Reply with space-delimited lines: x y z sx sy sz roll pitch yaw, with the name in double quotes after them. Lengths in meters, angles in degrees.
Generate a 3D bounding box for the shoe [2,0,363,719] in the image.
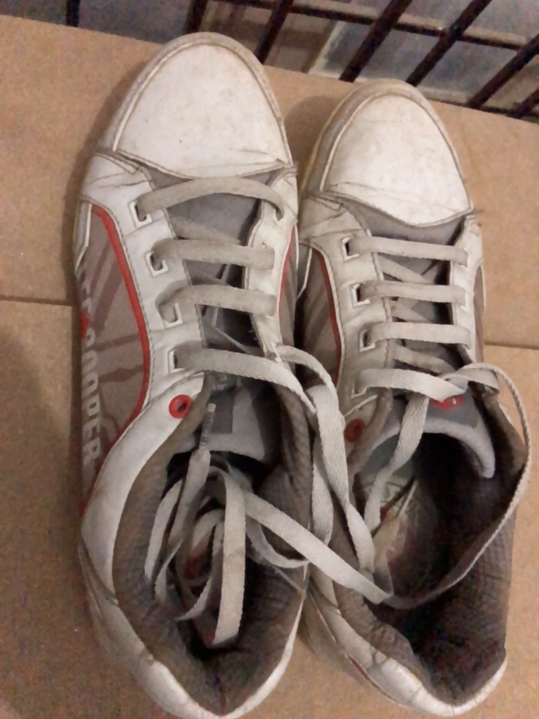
-0.034 -0.010 0.234 0.100 0.080 0.270 4 76 -19 "shoe"

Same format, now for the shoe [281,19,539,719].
0.068 0.004 0.268 0.100 0.080 0.270 4 76 -19 "shoe"
